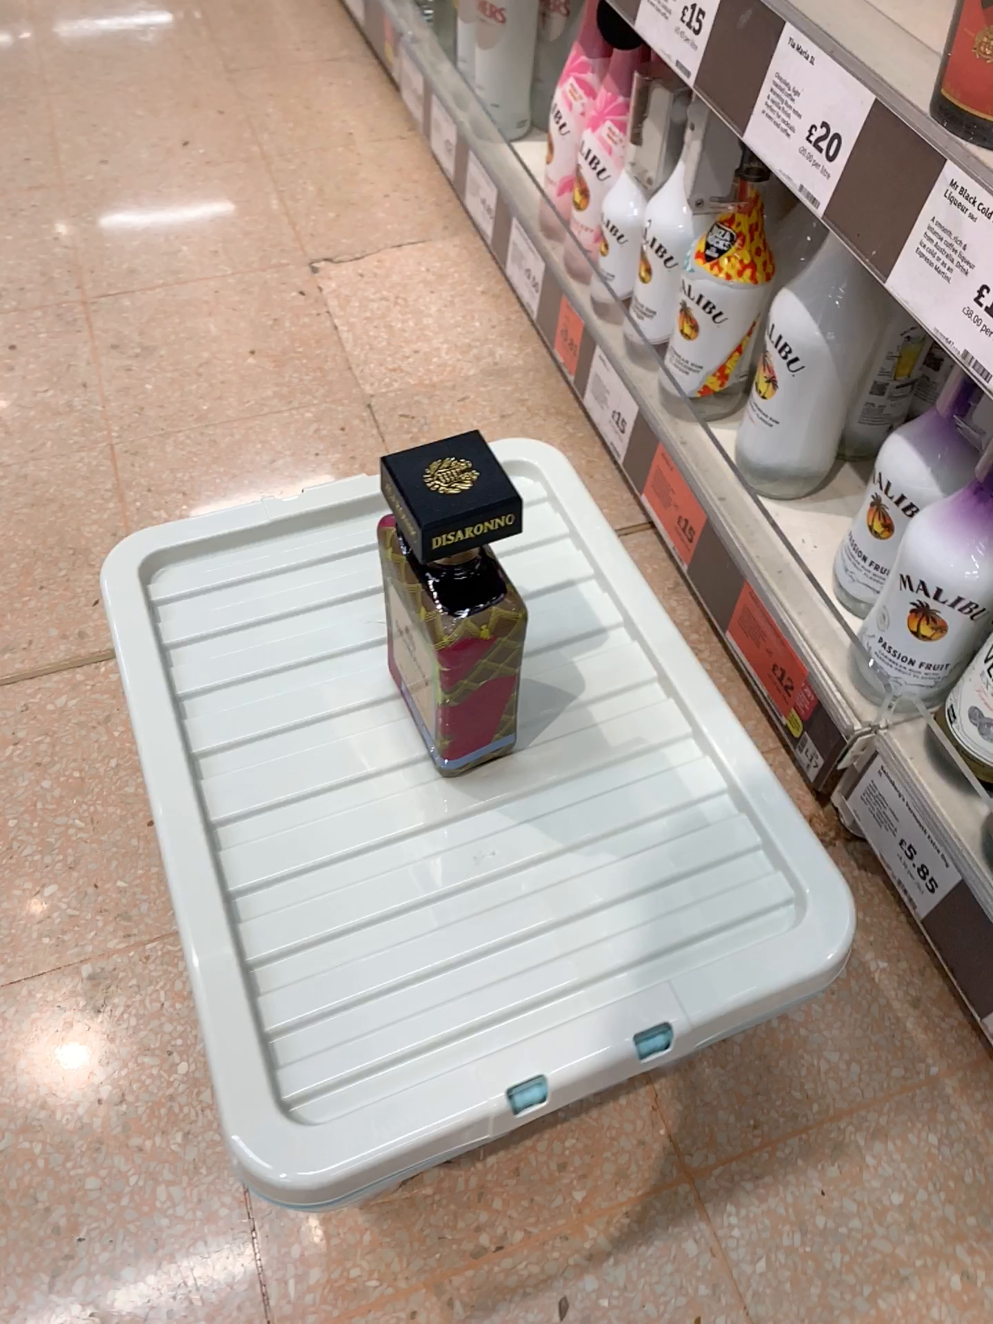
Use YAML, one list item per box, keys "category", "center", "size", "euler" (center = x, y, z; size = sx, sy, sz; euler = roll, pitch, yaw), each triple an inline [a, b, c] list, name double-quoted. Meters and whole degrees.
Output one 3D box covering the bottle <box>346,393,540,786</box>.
- category: "bottle"
  center: [-0.030, -0.031, 0.563]
  size: [0.060, 0.198, 0.101]
  euler: [-18, 56, -15]
